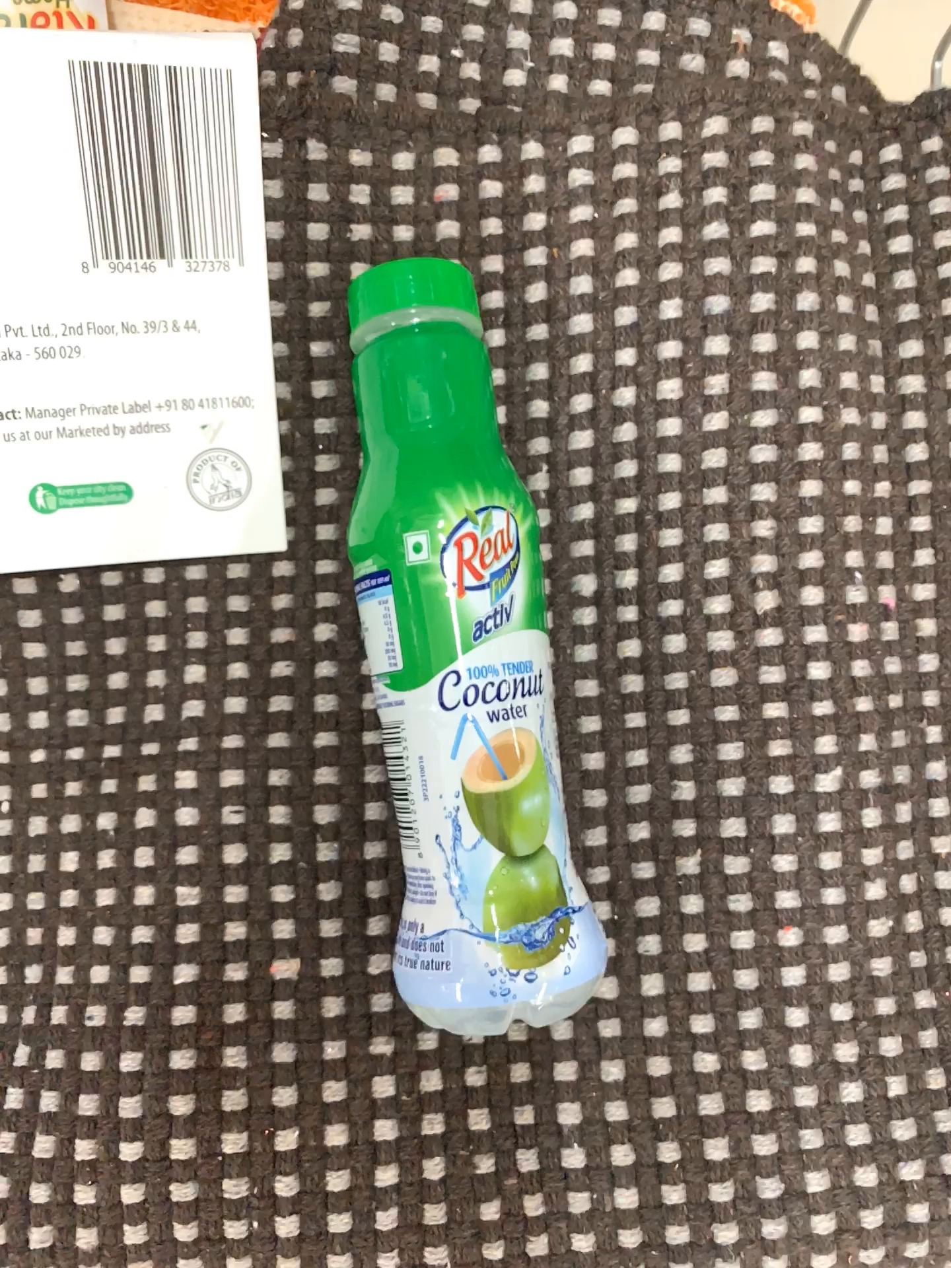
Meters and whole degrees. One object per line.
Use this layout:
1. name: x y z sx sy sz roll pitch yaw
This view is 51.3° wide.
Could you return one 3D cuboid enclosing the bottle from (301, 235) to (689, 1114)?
1. bottle: 0.003 0.007 0.217 0.060 0.040 0.170 -7 94 -14
